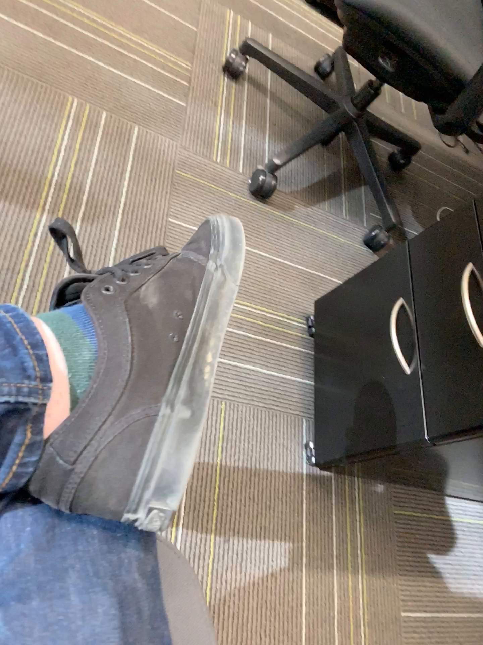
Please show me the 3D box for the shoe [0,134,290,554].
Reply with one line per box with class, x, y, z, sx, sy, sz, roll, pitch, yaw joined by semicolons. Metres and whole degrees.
shoe;-0.072;0.014;0.372;0.134;0.120;0.261;23;58;-12
